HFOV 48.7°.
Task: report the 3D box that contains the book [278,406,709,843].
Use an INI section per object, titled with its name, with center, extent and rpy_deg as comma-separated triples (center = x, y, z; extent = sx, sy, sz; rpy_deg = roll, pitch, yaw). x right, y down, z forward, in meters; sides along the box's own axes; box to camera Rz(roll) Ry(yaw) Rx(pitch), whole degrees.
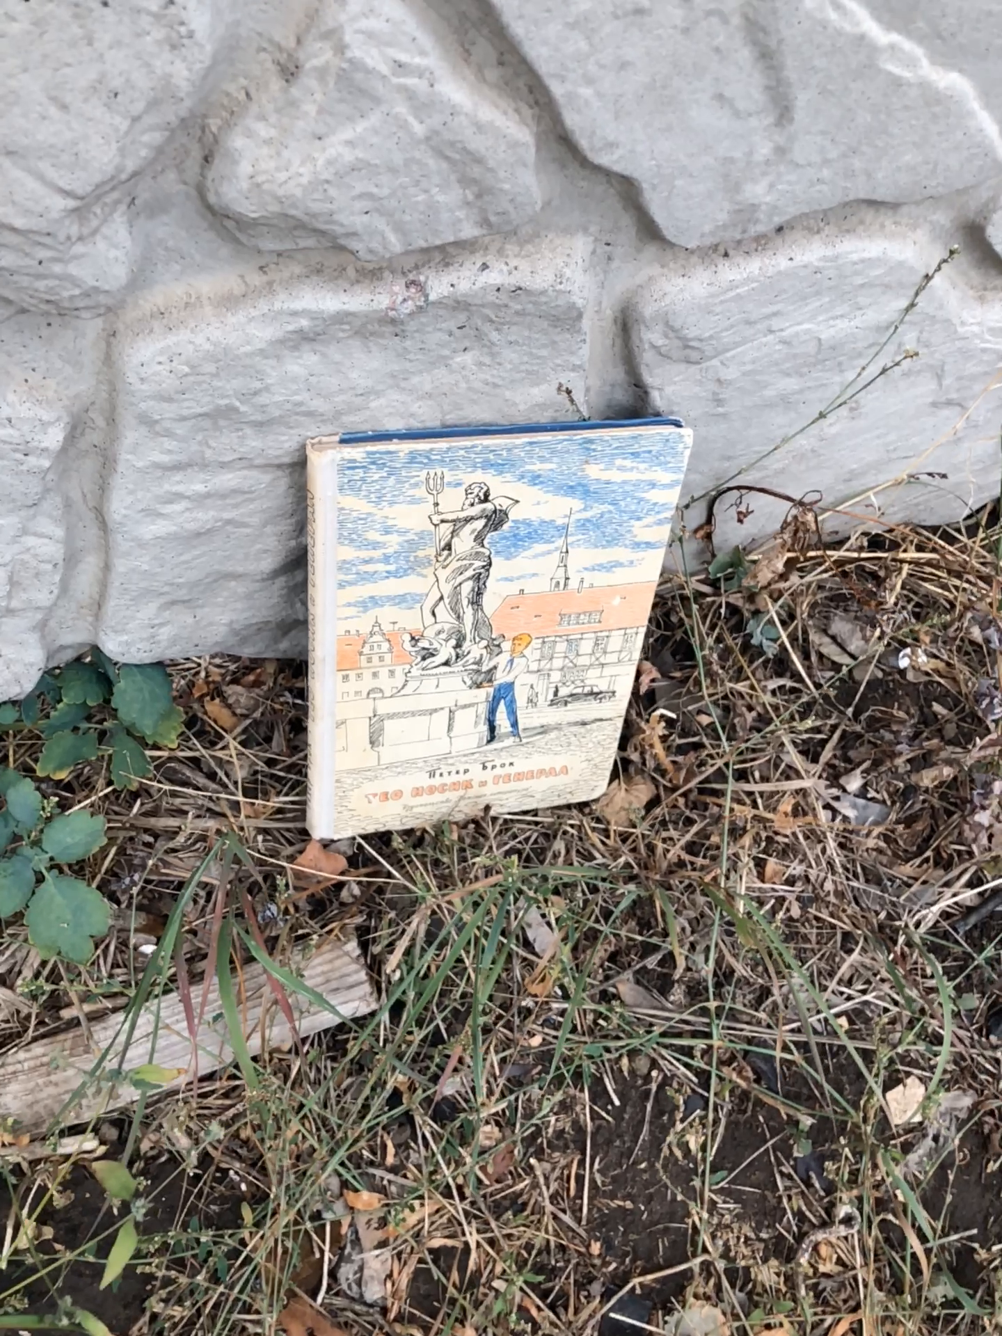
[book]
center = -0.006, -0.009, 0.454
extent = 0.151, 0.200, 0.020
rpy_deg = -5, 42, -10
